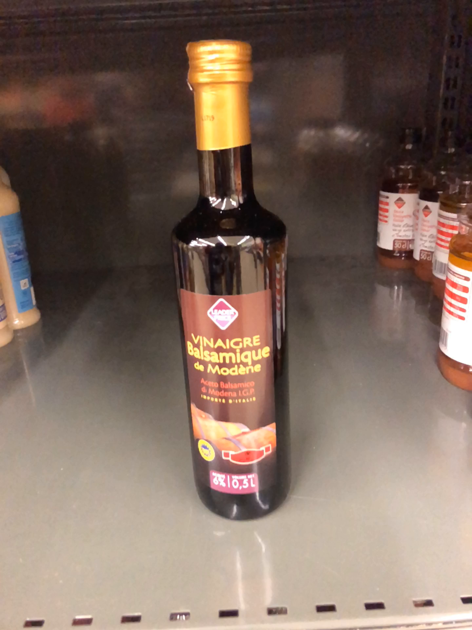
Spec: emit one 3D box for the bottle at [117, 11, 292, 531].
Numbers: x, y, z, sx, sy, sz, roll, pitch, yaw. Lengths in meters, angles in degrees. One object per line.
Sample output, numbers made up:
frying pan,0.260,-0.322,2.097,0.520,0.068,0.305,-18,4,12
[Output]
bottle,-0.005,-0.011,0.295,0.070,0.269,0.070,-2,22,1
